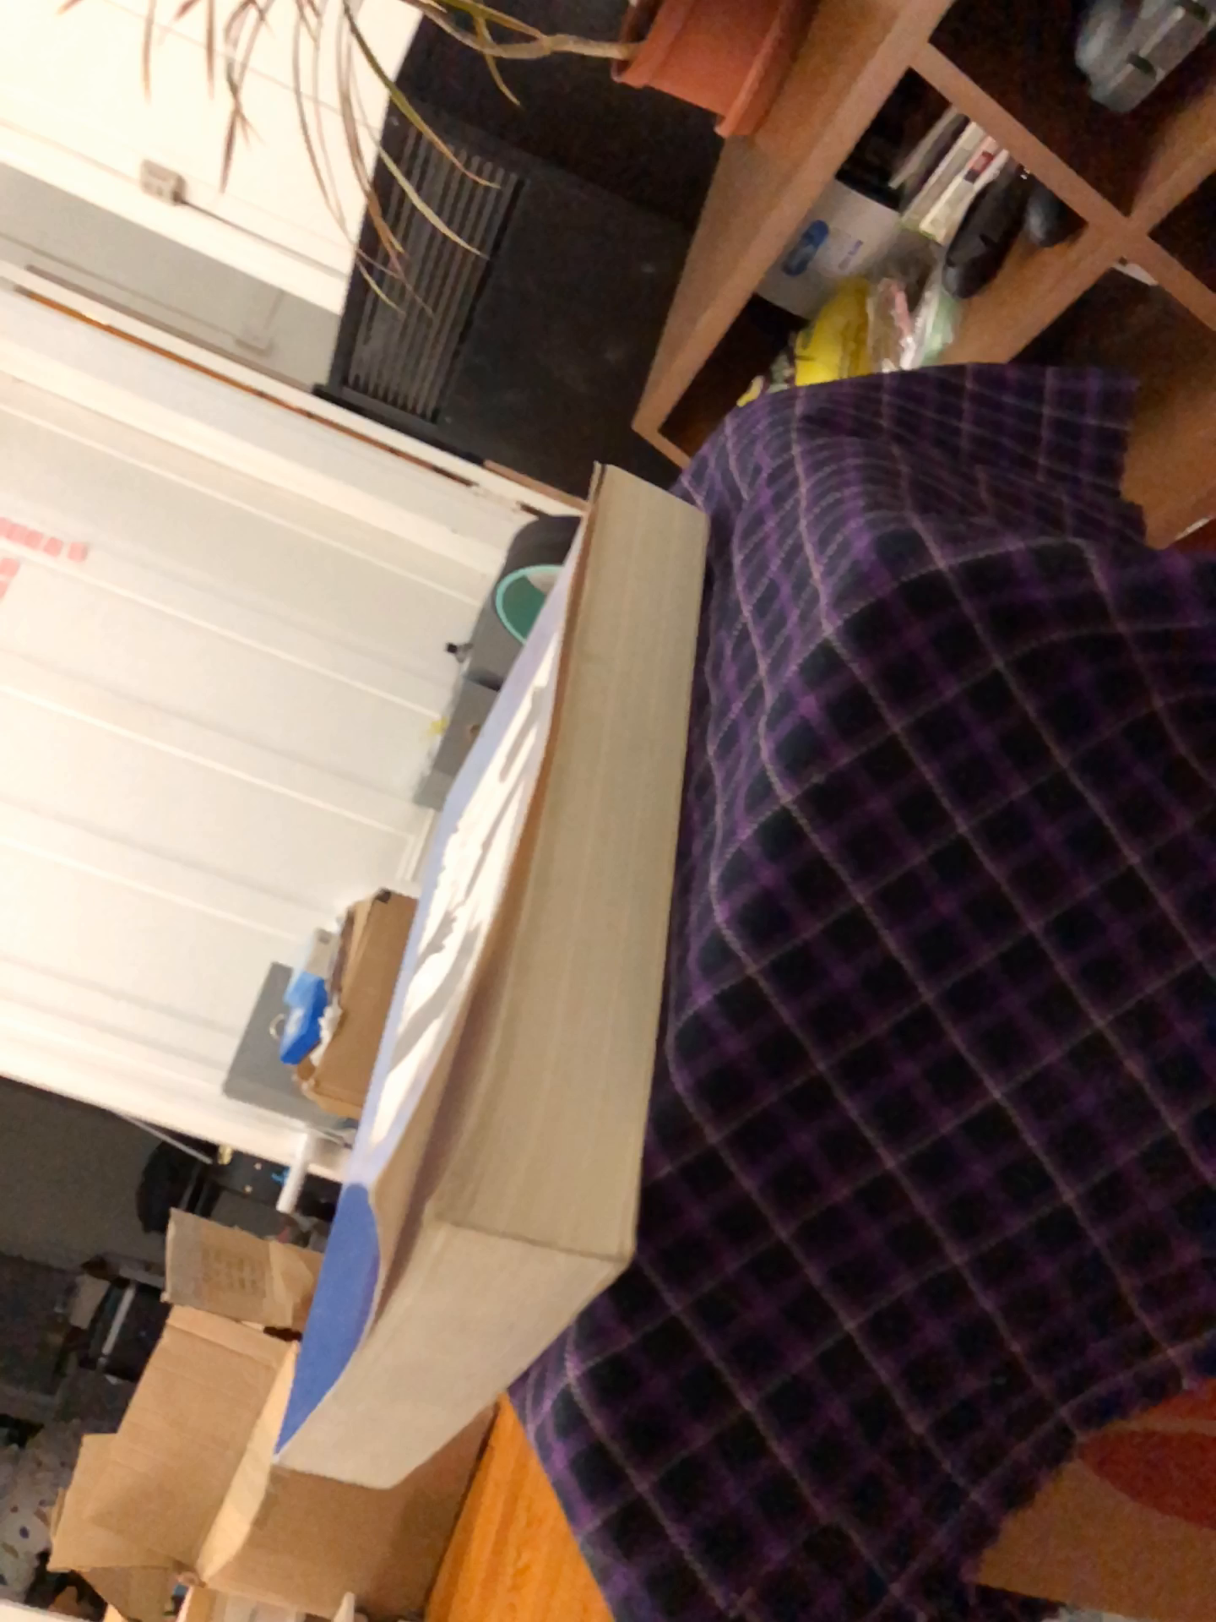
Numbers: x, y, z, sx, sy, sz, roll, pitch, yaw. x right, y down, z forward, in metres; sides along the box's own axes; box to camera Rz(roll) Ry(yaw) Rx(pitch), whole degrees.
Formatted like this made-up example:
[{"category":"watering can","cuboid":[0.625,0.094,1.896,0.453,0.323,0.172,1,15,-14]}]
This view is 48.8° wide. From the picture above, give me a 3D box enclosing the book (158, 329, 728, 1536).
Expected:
[{"category":"book","cuboid":[-0.040,0.026,0.360,0.200,0.040,0.261,123,163,-45]}]
